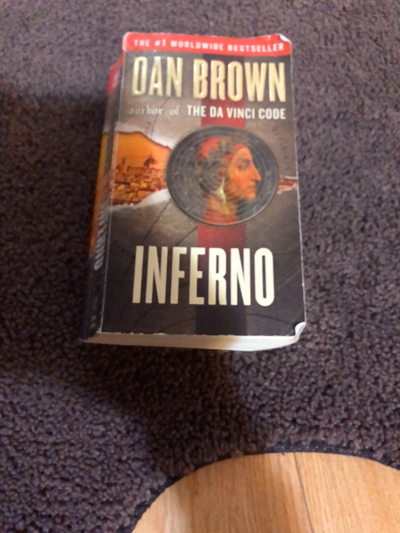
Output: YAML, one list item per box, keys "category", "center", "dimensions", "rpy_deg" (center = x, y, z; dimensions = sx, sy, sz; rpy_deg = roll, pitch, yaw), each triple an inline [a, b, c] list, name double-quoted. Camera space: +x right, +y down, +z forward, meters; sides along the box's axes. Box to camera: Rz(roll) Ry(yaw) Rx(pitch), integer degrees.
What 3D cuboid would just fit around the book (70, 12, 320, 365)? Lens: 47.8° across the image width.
- category: "book"
  center: [-0.001, -0.047, 0.269]
  dimensions: [0.120, 0.050, 0.200]
  rpy_deg: [3, 73, -4]
